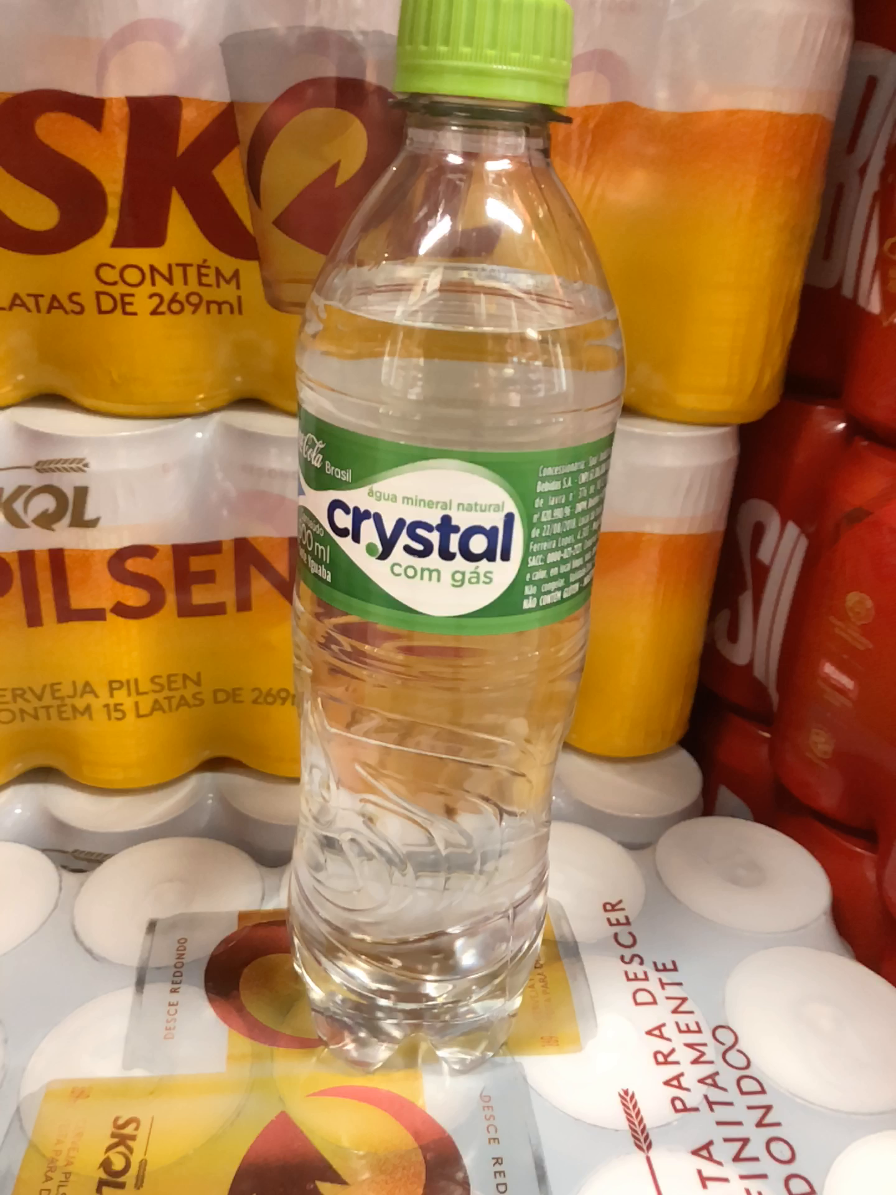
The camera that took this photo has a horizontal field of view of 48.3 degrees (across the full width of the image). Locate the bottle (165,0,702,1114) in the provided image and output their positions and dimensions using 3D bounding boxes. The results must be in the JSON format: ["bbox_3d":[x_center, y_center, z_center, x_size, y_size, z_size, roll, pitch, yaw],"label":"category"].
[{"bbox_3d":[-0.002,0.000,0.204,0.070,0.218,0.060,8,28,9],"label":"bottle"}]
